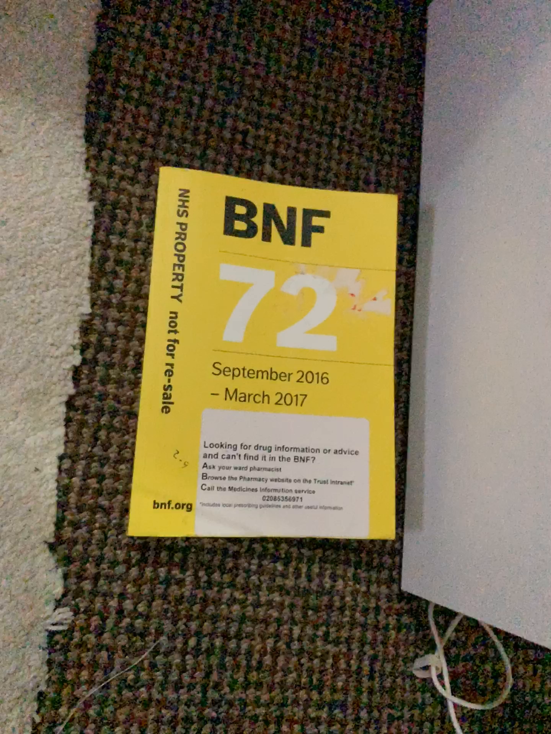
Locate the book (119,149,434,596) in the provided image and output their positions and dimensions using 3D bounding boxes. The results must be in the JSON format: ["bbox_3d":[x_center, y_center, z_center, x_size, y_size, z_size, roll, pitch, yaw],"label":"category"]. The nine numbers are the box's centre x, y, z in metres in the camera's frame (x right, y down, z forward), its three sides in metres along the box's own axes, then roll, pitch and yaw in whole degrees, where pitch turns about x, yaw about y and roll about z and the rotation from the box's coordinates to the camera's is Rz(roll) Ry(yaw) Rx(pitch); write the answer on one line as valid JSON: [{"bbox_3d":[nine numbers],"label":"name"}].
[{"bbox_3d":[0.004,0.005,0.324,0.160,0.050,0.220,5,79,-18],"label":"book"}]
